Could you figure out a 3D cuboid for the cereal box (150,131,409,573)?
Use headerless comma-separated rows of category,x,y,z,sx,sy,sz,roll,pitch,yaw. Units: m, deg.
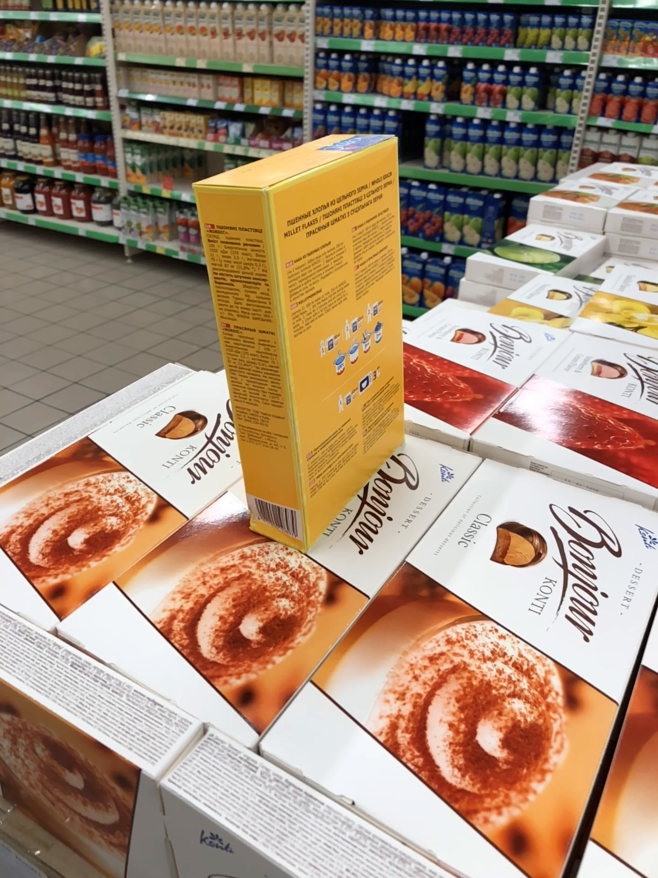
cereal box,-0.013,-0.058,0.444,0.050,0.218,0.161,12,34,29
